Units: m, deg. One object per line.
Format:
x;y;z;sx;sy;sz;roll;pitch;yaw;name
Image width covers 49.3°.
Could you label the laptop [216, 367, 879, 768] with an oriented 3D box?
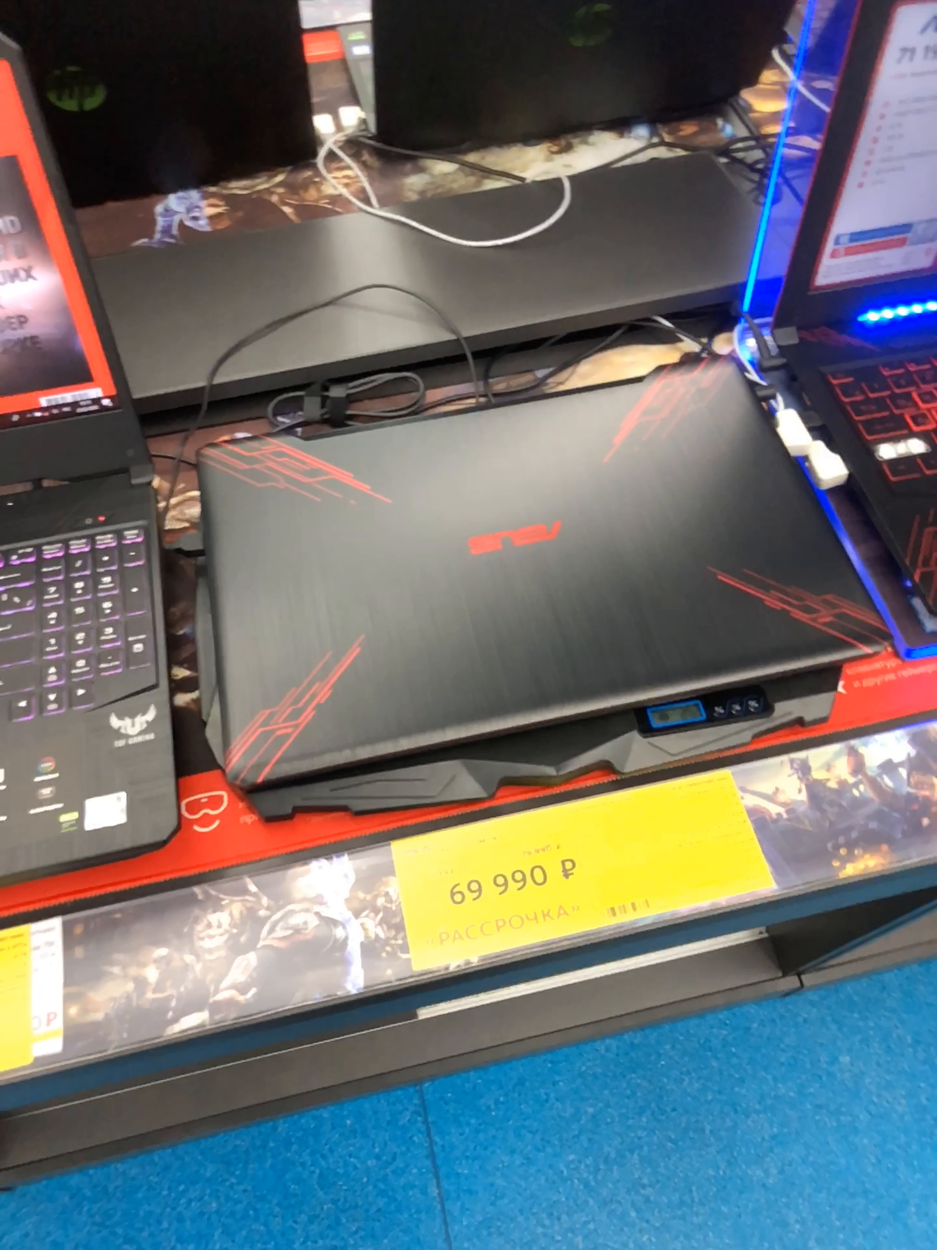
0.031;-0.052;0.630;0.358;0.003;0.240;-11;54;-5;laptop
